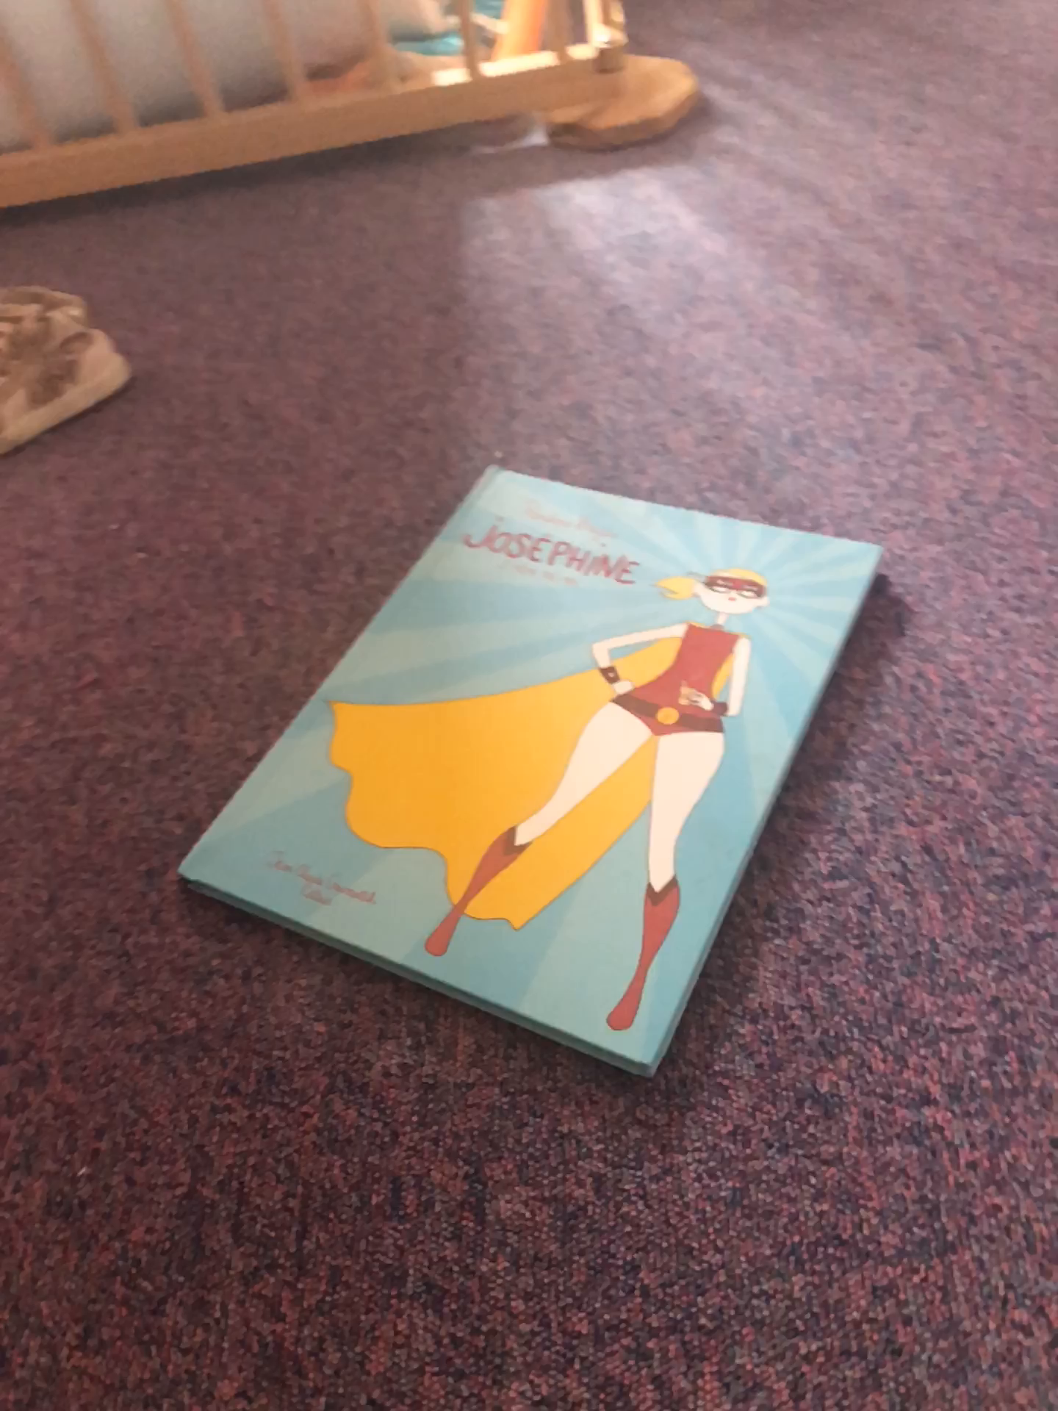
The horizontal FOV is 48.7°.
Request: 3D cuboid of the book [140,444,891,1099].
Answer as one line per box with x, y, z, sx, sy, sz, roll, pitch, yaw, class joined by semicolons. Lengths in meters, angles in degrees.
0.007;-0.004;0.545;0.234;0.020;0.308;16;54;23;book
